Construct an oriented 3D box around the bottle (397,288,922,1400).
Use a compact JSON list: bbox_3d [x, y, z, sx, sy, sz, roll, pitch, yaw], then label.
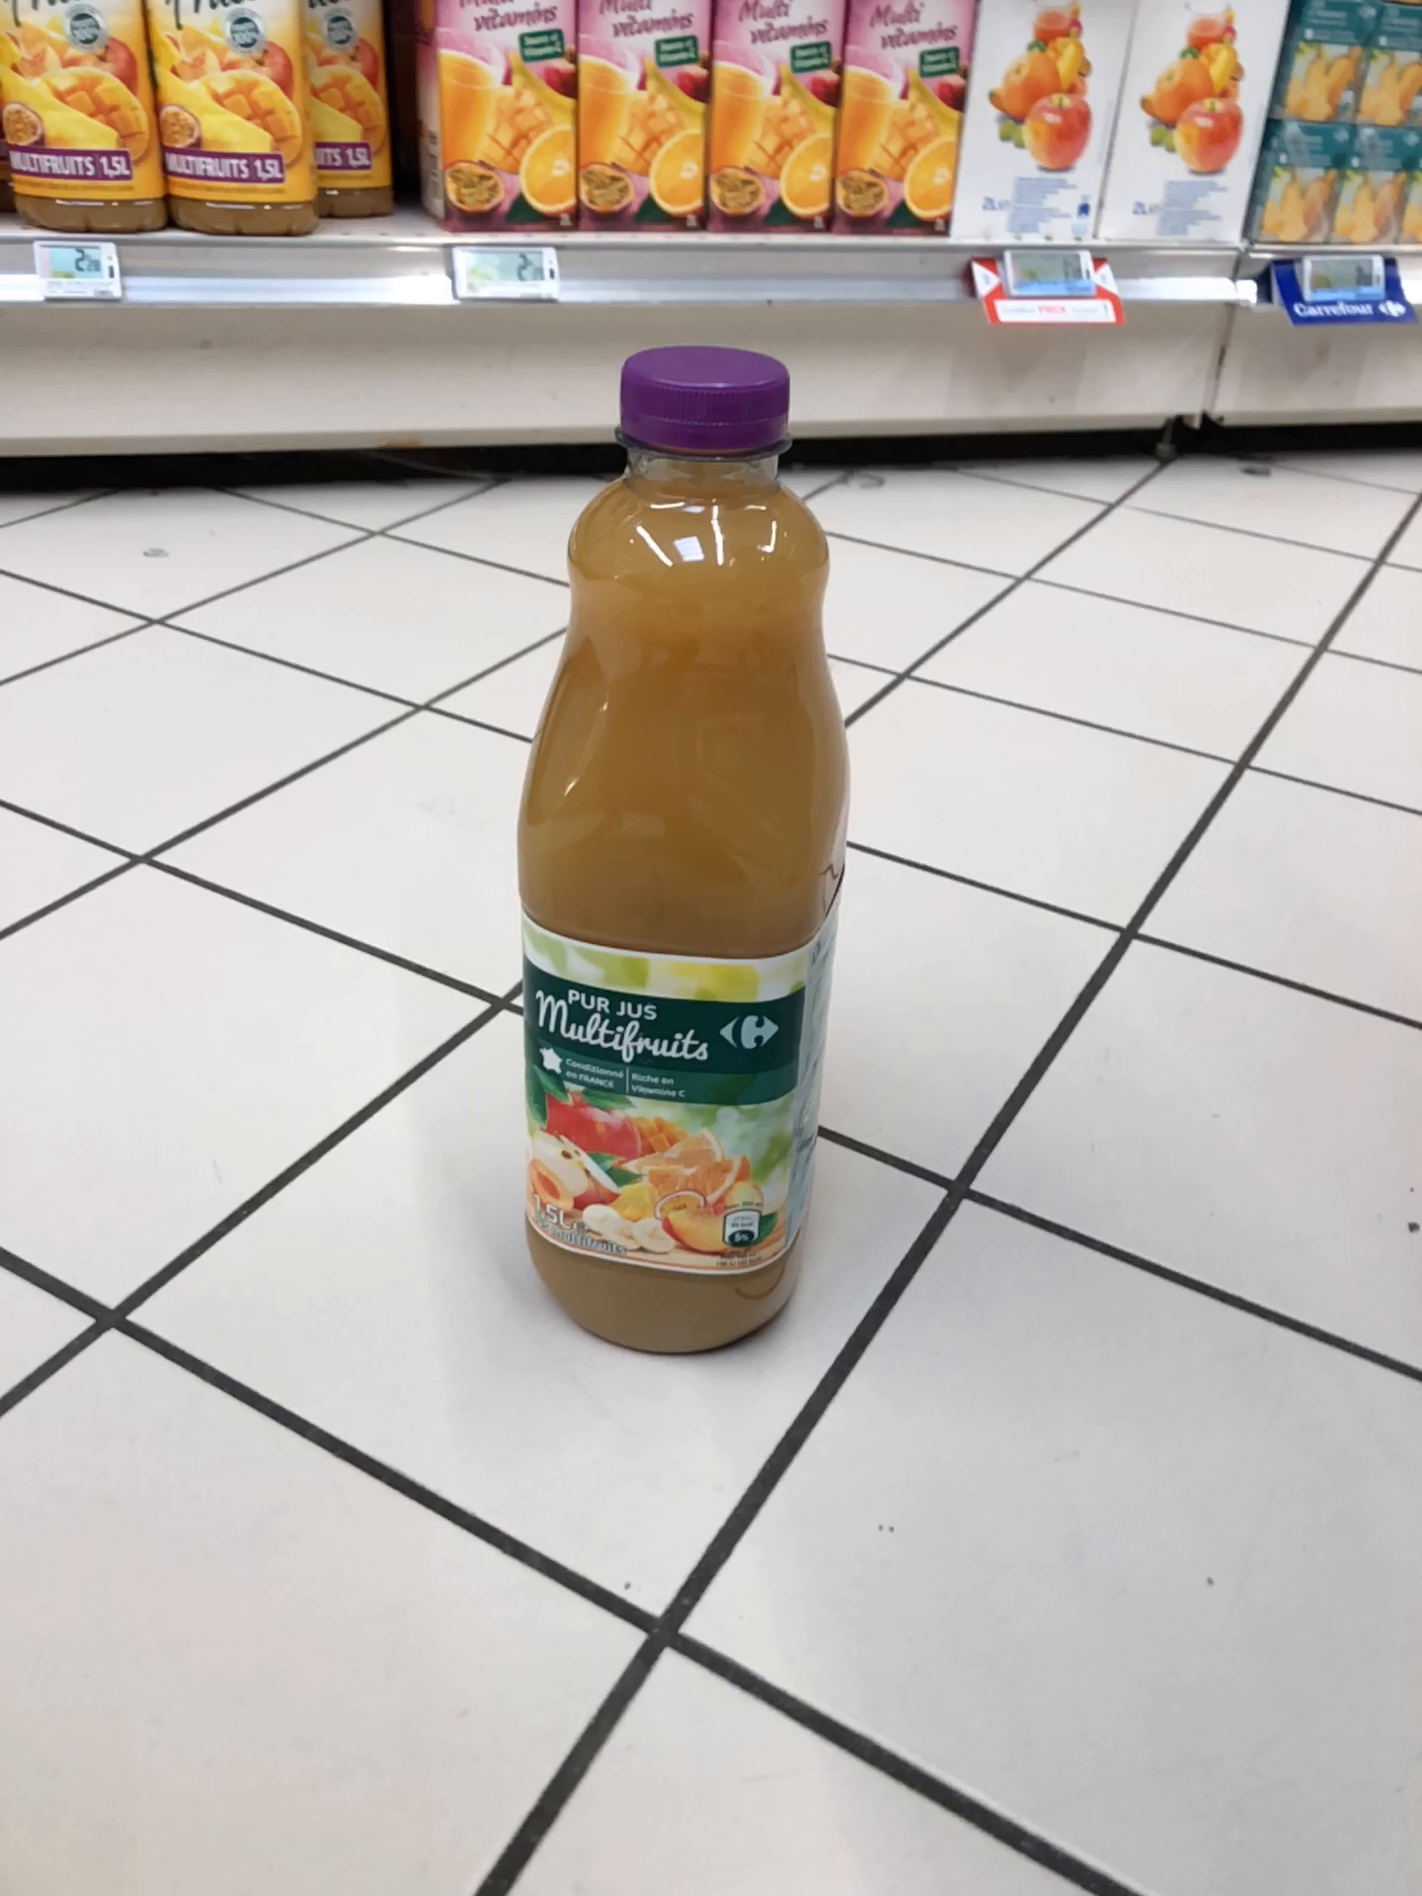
[{"bbox_3d":[-0.013,-0.020,0.430,0.100,0.278,0.101,2,32,-2],"label":"bottle"}]
